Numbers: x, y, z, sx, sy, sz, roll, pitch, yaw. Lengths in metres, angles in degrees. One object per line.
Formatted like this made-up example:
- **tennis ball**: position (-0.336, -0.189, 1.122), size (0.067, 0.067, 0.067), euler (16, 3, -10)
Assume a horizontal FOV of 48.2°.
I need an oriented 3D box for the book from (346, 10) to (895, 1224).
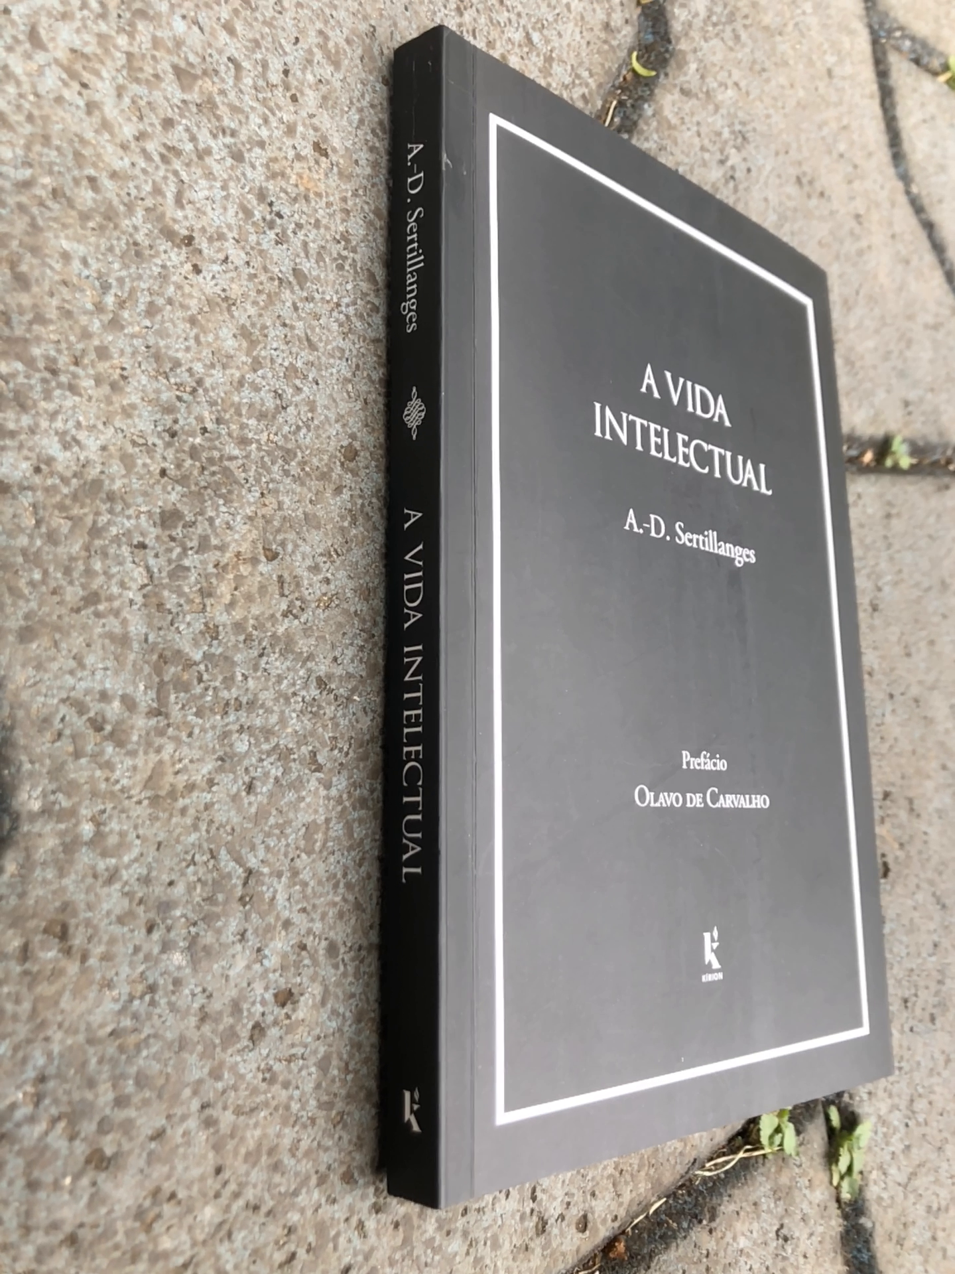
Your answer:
- **book**: position (0.037, -0.004, 0.221), size (0.137, 0.020, 0.196), euler (9, 77, -41)
